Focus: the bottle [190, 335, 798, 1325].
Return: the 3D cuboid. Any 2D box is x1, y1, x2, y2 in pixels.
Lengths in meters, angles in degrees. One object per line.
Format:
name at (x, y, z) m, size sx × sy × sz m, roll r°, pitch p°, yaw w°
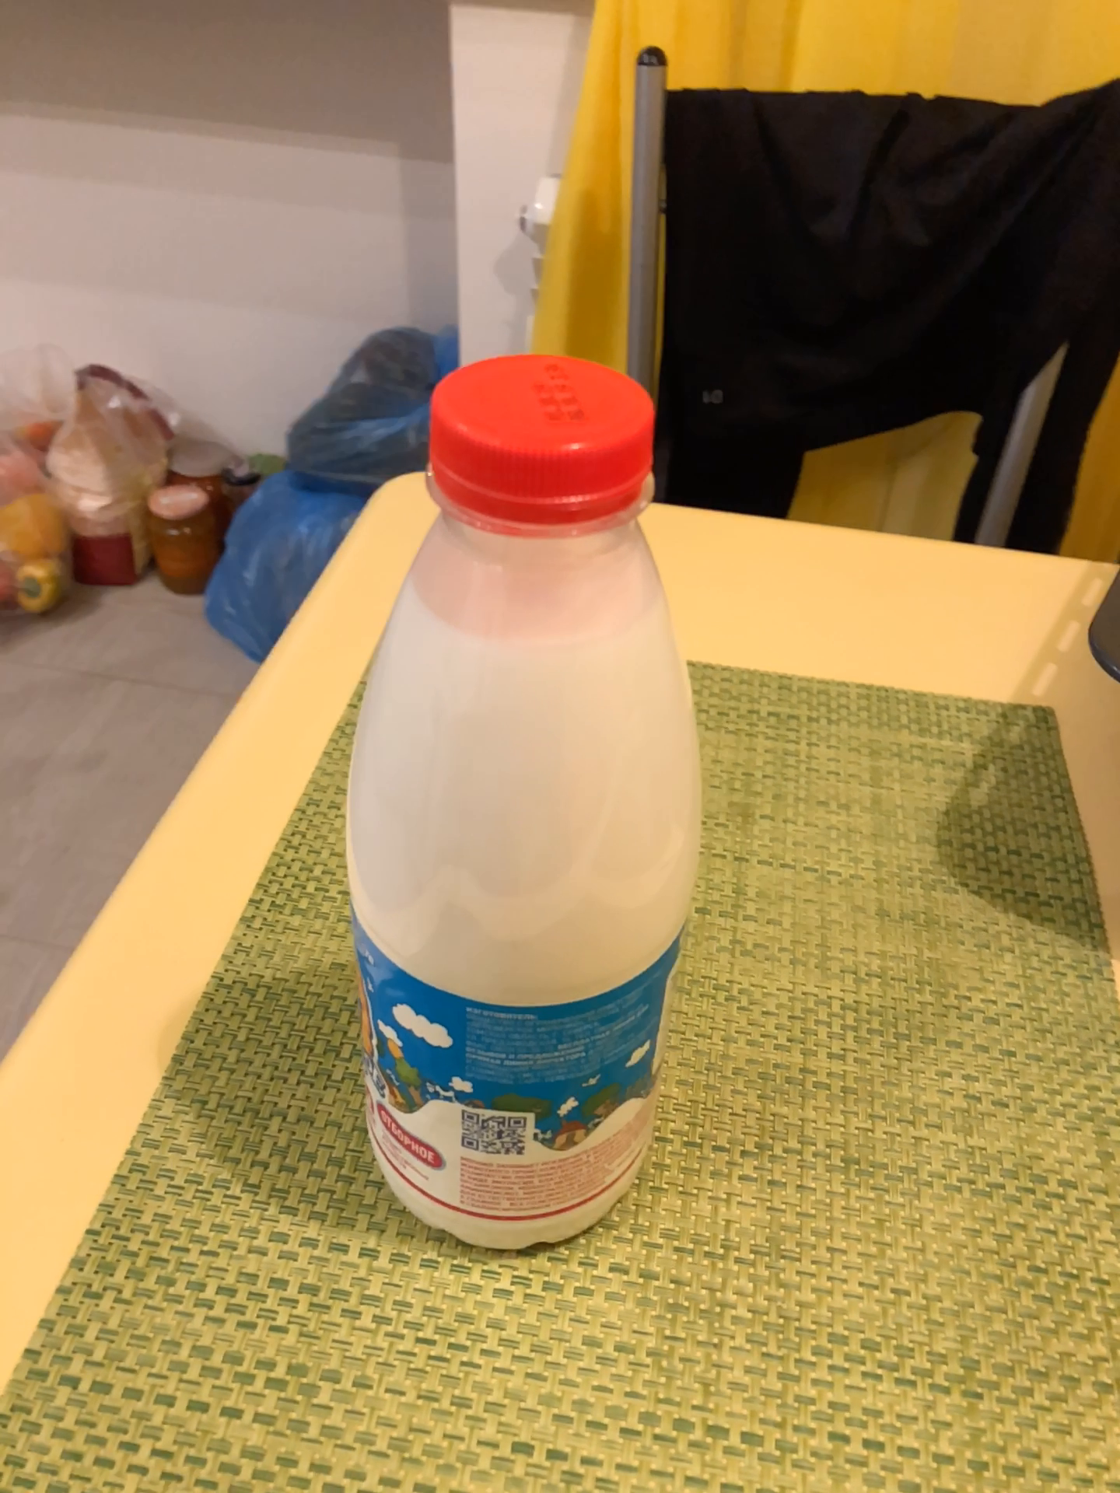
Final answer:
bottle at (-0.009, 0.033, 0.285) m, size 0.090 × 0.218 × 0.091 m, roll 2°, pitch 40°, yaw -1°
